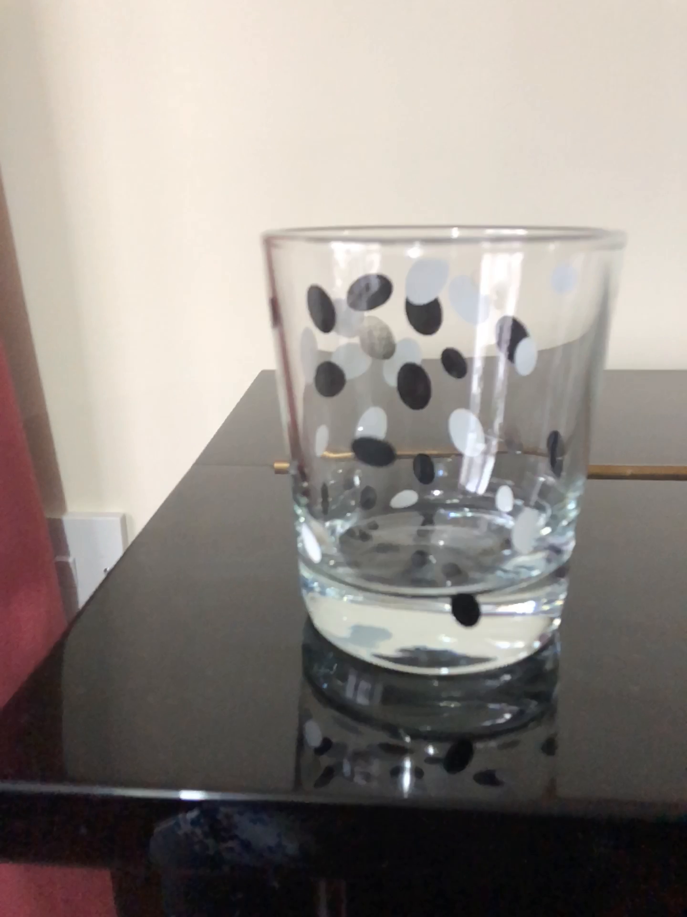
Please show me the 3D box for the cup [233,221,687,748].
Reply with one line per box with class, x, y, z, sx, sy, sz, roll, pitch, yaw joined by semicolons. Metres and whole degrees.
cup;0.026;-0.005;0.185;0.080;0.099;0.070;-9;19;-26
